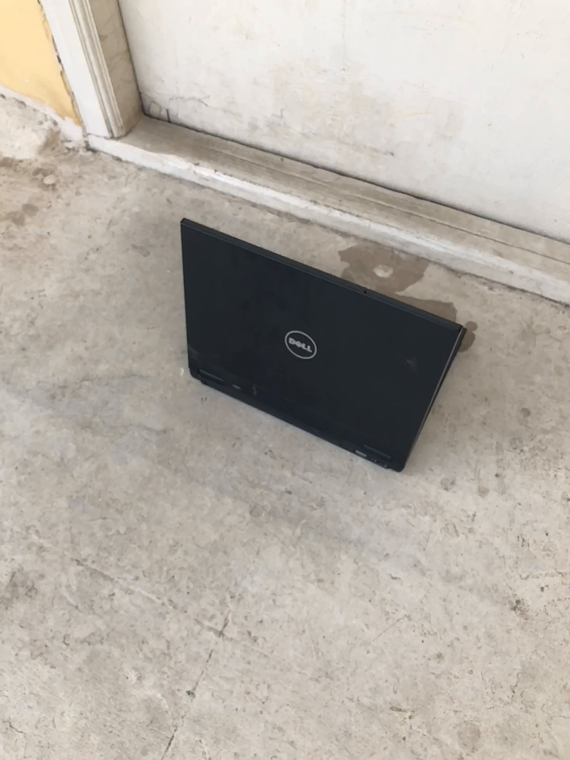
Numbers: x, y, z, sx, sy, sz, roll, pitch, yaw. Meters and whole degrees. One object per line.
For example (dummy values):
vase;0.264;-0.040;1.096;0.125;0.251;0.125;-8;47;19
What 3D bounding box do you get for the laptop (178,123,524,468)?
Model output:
laptop;0.071;-0.094;0.754;0.279;0.252;0.224;24;64;15
